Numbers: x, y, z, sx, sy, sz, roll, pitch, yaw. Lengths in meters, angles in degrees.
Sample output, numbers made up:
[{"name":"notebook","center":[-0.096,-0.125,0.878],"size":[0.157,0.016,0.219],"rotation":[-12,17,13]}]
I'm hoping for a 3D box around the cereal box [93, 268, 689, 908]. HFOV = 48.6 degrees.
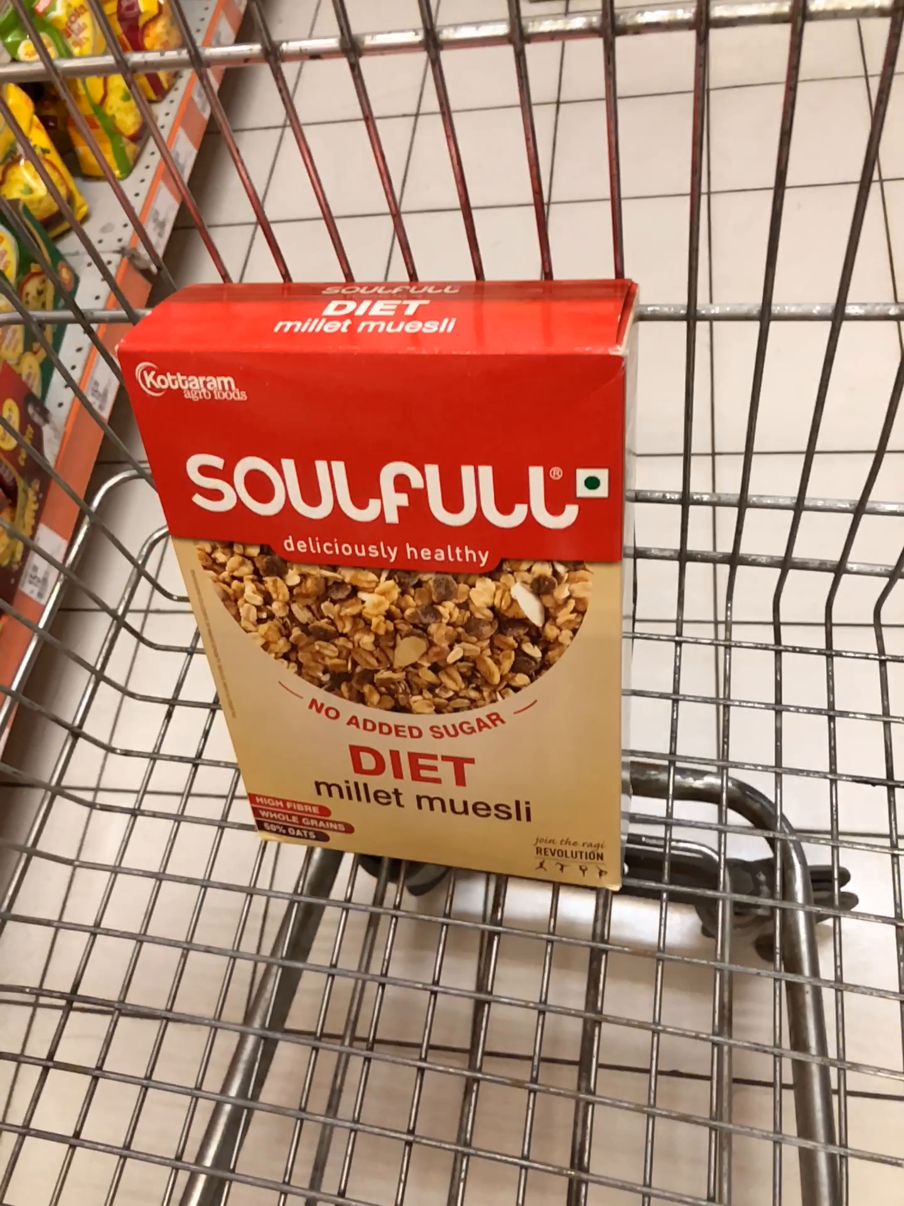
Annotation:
[{"name":"cereal box","center":[-0.007,0.007,0.374],"size":[0.170,0.249,0.050],"rotation":[5,40,14]}]
